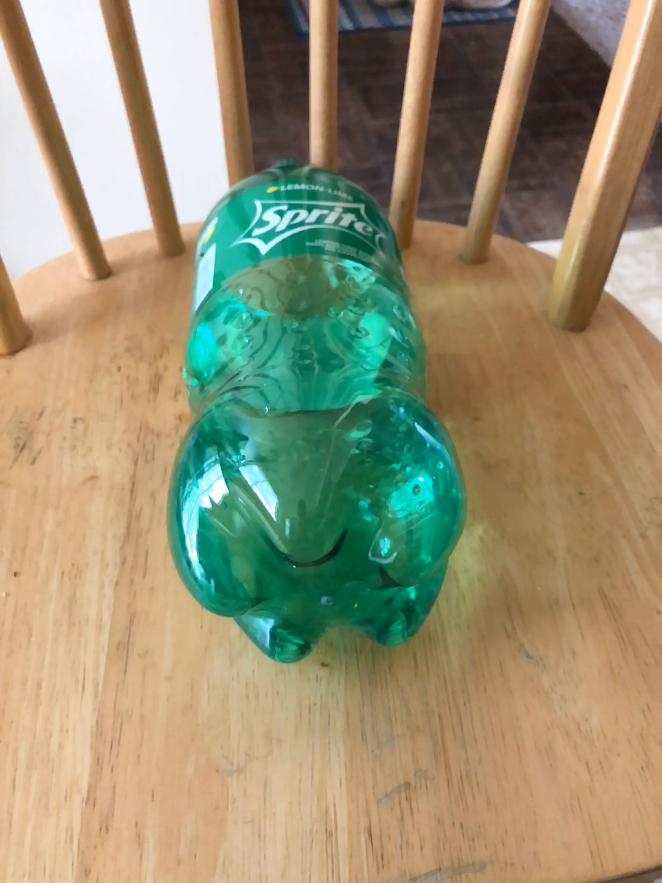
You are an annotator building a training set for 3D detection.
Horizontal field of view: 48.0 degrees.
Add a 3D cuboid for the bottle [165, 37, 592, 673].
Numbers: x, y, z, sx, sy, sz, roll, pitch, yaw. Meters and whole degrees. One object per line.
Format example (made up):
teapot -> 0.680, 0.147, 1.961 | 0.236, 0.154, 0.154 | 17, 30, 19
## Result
bottle -> -0.008, -0.063, 0.333 | 0.110, 0.110, 0.300 | 3, 45, -11
